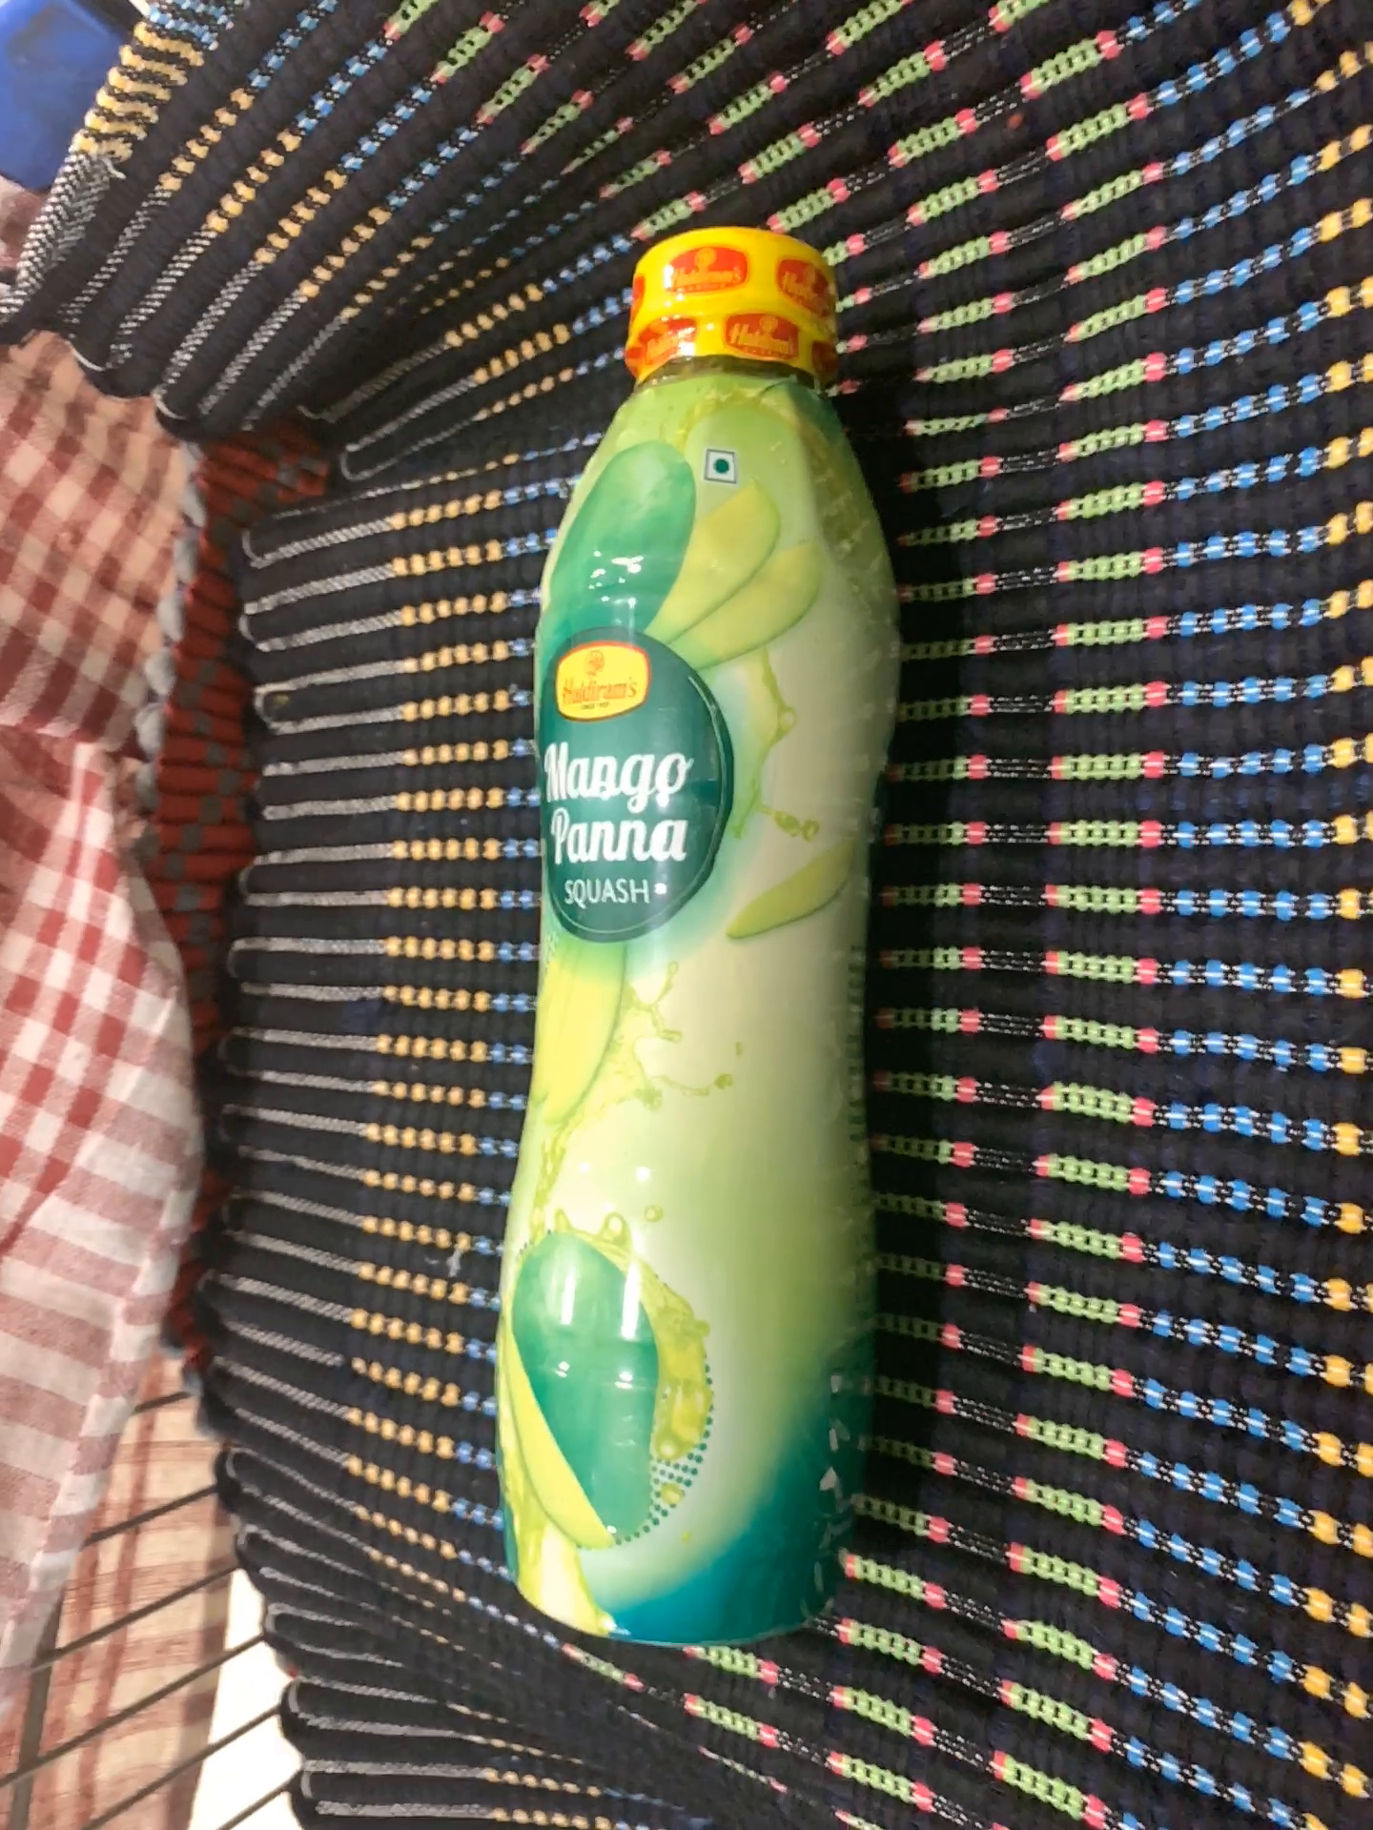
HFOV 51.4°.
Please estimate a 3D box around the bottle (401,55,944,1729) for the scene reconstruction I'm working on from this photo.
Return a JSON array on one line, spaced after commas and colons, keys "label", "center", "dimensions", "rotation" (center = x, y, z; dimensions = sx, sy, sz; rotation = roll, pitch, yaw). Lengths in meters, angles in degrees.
[{"label": "bottle", "center": [-0.001, -0.007, 0.269], "dimensions": [0.070, 0.050, 0.270], "rotation": [1, 86, 35]}]
